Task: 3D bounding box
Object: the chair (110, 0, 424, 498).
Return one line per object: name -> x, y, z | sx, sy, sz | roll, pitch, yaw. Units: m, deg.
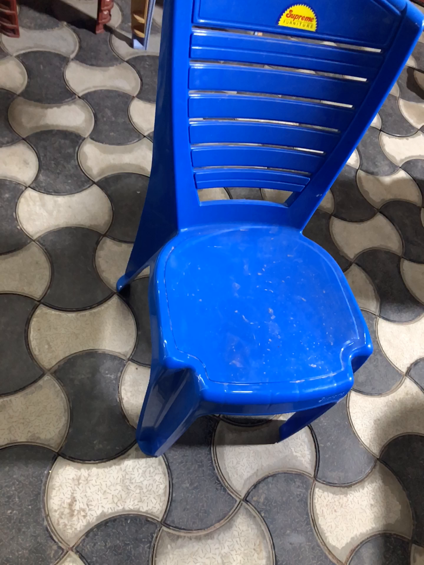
chair -> 0.095, -0.016, 0.738 | 0.471, 0.726, 0.512 | 0, 58, -15
